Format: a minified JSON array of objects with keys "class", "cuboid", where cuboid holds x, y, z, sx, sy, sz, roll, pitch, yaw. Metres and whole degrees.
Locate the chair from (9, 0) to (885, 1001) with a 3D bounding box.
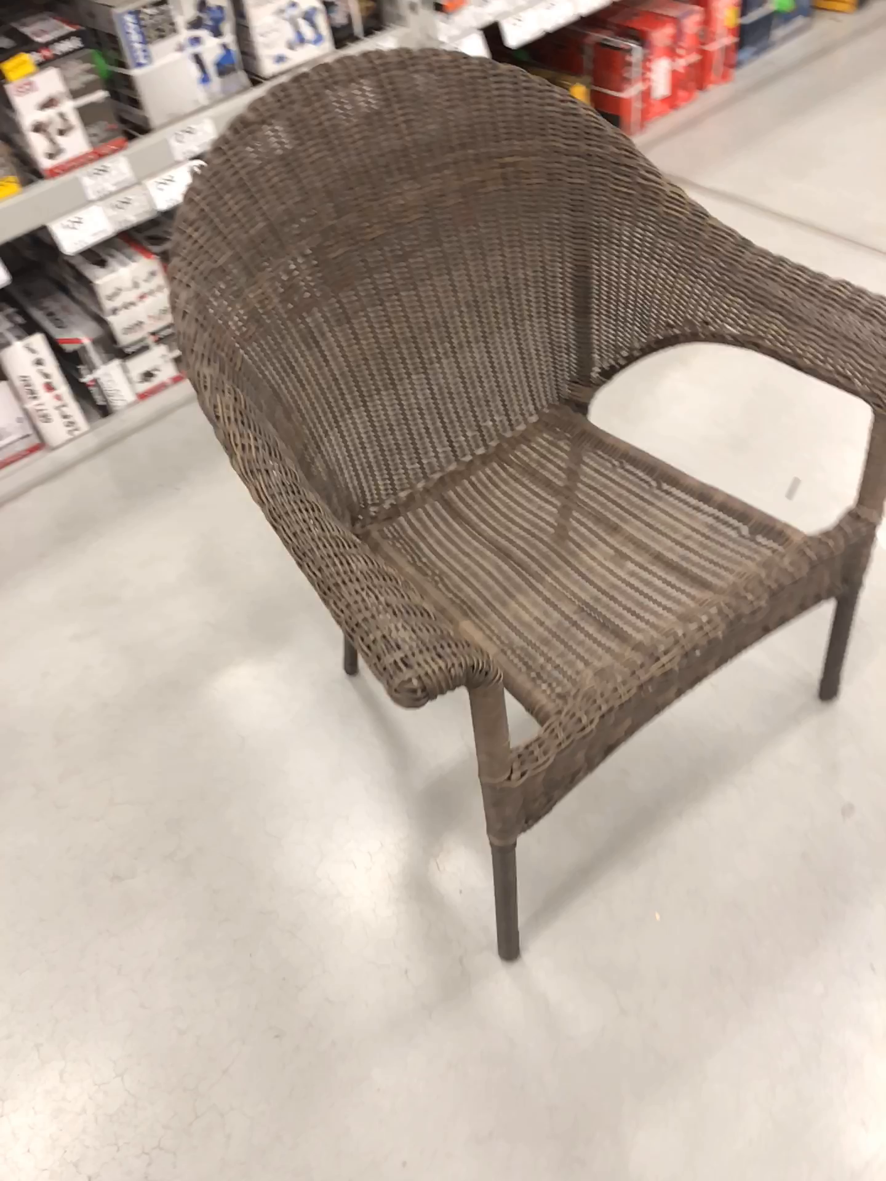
[{"class":"chair","cuboid":[0.100,-0.165,1.221,0.720,0.797,0.762,-33,51,-20]}]
